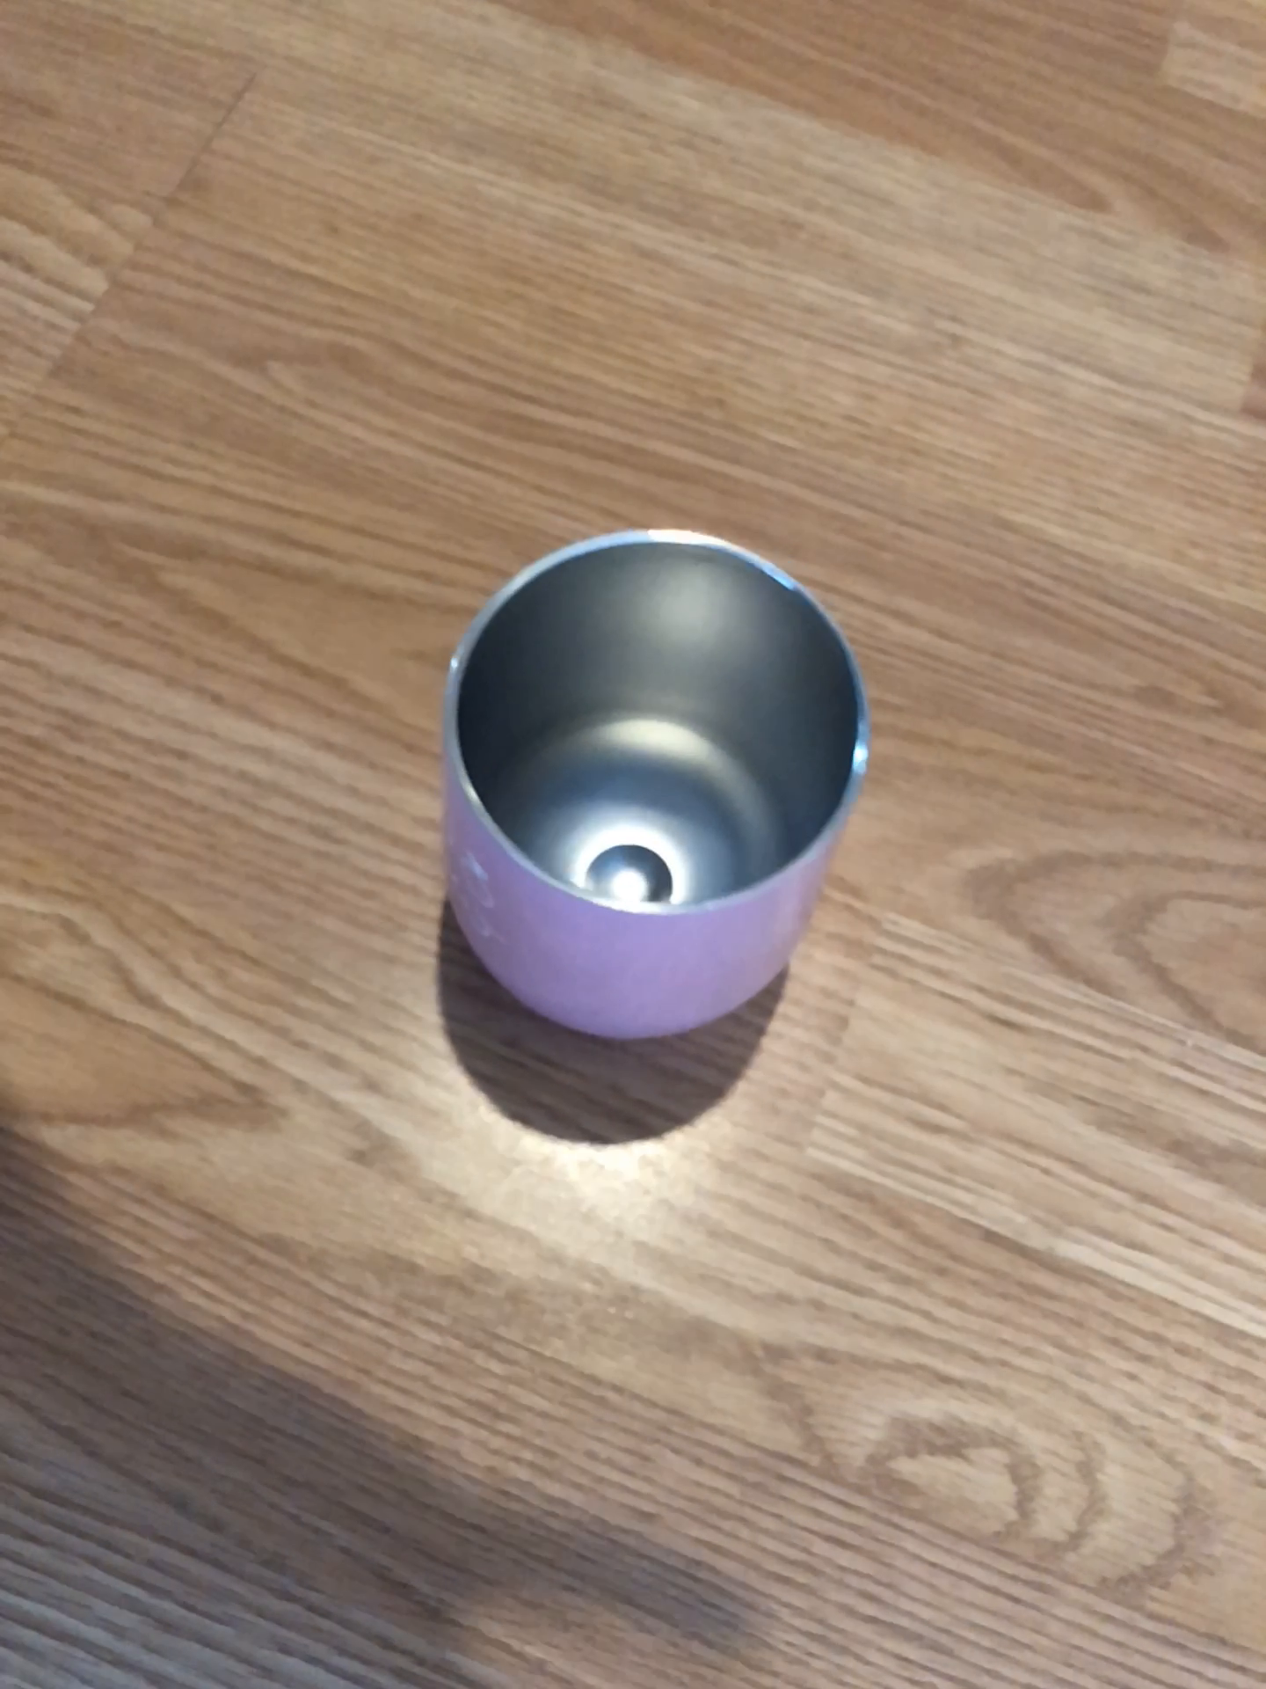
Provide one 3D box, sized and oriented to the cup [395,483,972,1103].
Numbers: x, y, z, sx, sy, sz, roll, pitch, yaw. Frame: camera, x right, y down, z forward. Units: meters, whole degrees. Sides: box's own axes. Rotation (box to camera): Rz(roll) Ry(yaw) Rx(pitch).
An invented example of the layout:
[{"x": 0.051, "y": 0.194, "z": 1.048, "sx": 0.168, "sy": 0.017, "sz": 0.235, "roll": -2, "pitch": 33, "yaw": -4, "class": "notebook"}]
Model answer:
[{"x": 0.004, "y": -0.006, "z": 0.308, "sx": 0.090, "sy": 0.100, "sz": 0.090, "roll": 1, "pitch": 69, "yaw": -3, "class": "cup"}]
